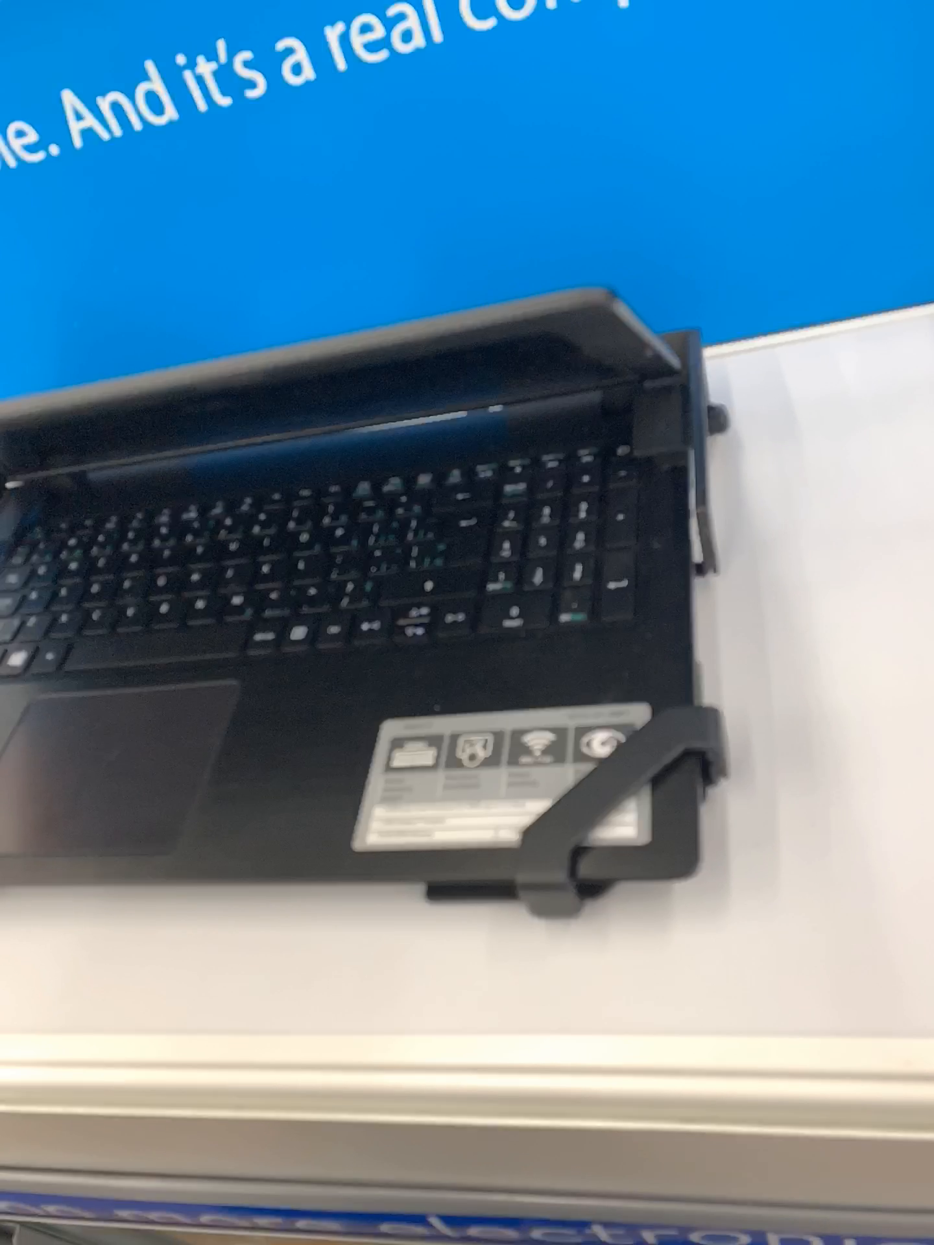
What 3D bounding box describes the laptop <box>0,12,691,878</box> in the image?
[{"bbox_3d":[-0.114,-0.051,0.350,0.365,0.146,0.234,-5,48,18],"label":"laptop"}]
